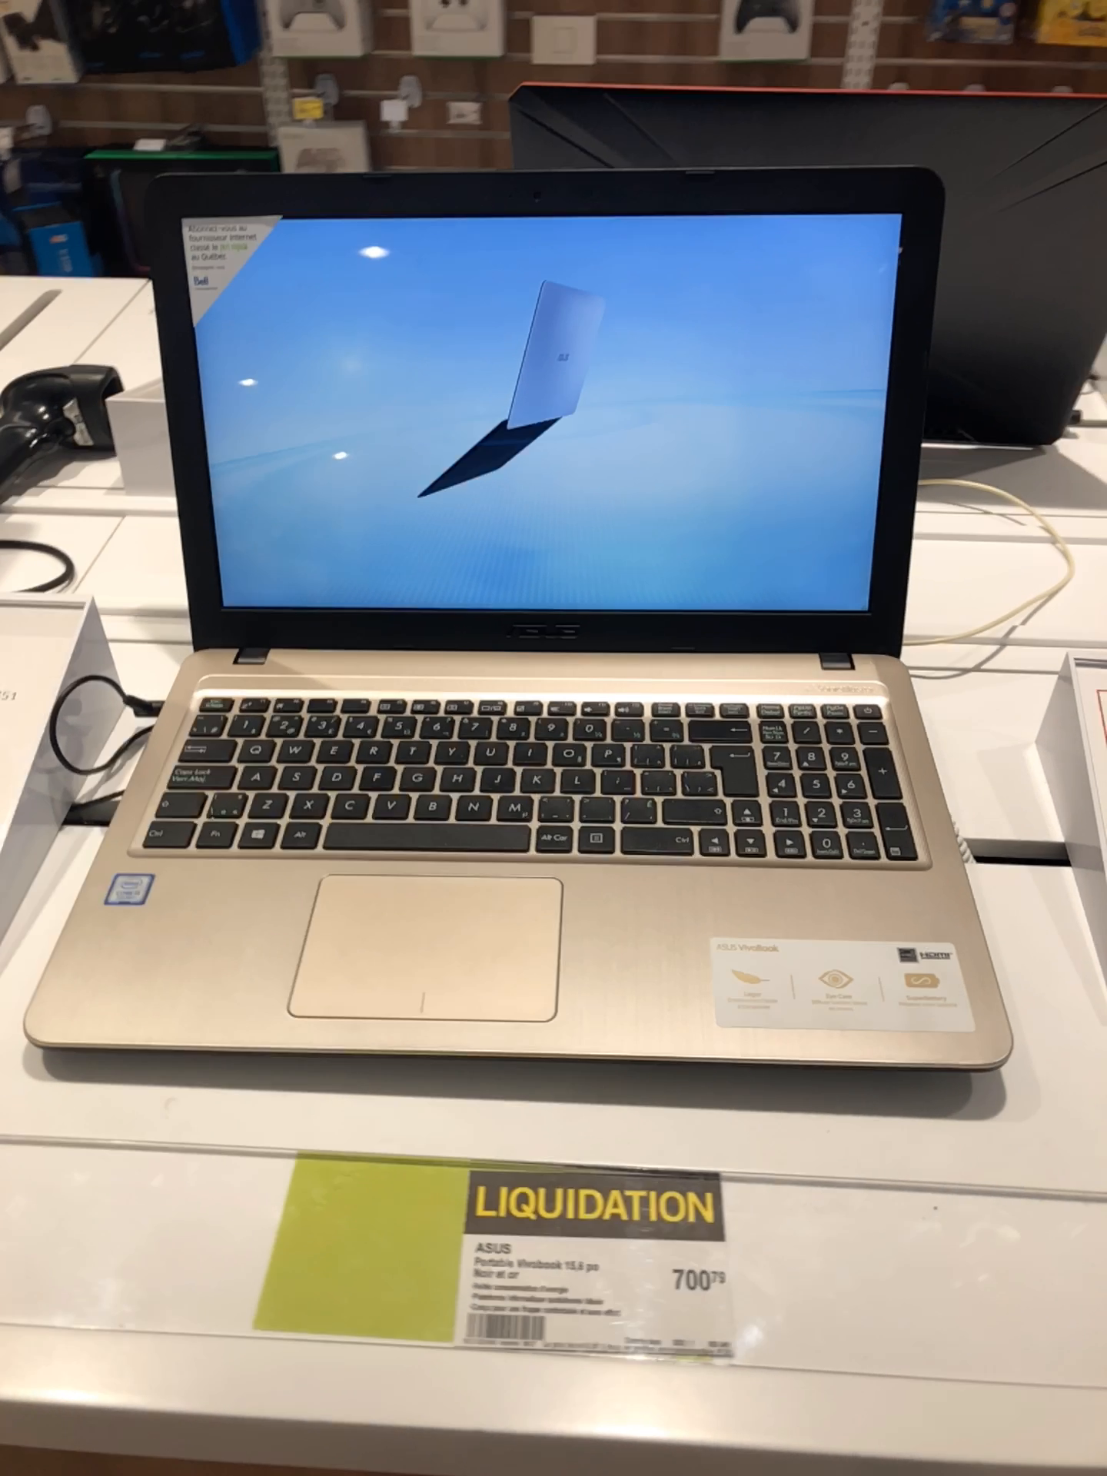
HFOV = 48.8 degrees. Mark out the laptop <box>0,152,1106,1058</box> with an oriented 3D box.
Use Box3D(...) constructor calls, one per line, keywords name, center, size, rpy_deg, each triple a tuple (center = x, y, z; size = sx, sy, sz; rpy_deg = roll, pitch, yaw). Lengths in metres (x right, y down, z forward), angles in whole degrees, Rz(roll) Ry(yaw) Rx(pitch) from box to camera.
Box3D(name="laptop", center=(-0.010, -0.081, 0.526), size=(0.370, 0.204, 0.339), rpy_deg=(1, 43, 2))
